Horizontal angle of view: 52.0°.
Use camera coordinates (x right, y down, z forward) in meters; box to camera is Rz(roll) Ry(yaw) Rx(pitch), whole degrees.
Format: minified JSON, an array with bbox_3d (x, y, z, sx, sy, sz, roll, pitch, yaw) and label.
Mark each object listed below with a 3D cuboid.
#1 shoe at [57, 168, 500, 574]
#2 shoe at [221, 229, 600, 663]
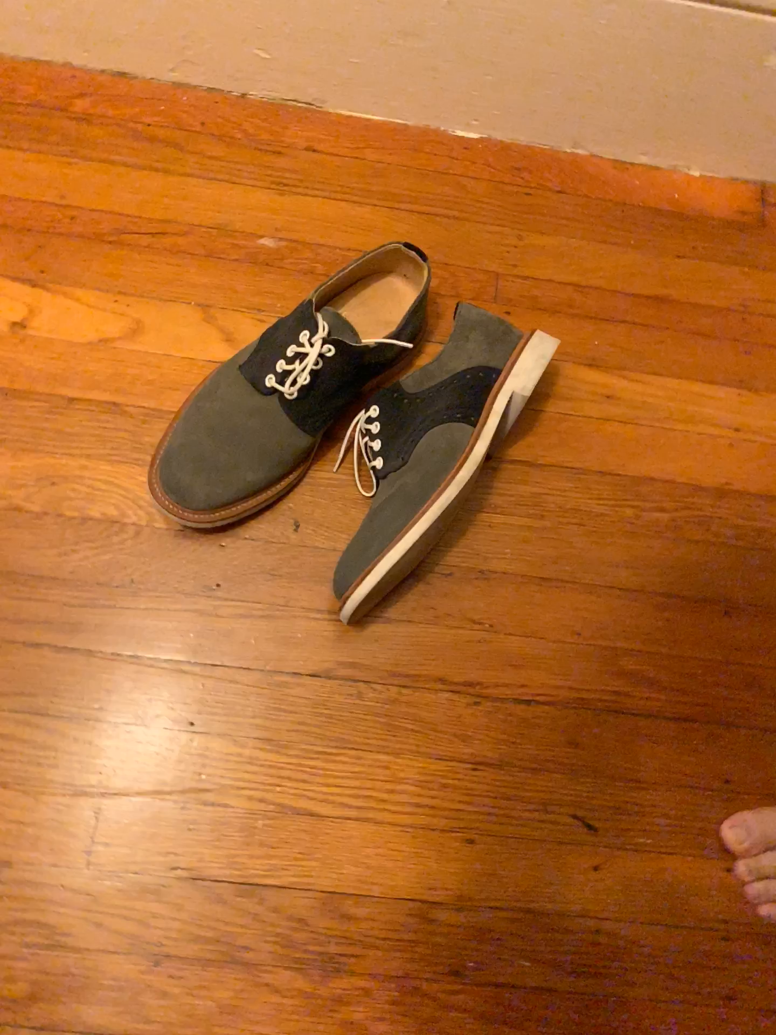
[{"bbox_3d":[-0.076,-0.116,0.625,0.310,0.100,0.130,-41,81,-15],"label":"shoe"},{"bbox_3d":[0.021,-0.055,0.637,0.120,0.130,0.310,35,73,7],"label":"shoe"}]
